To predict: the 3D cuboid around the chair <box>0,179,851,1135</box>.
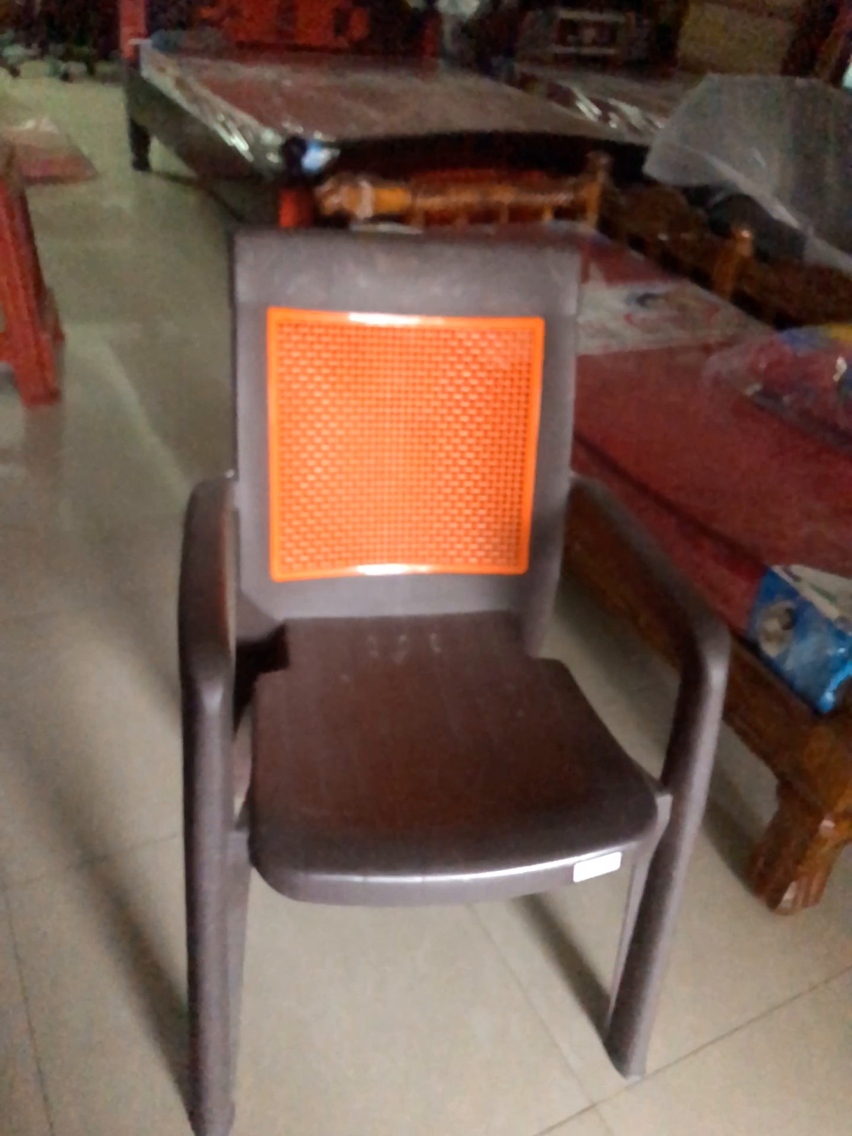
[{"bbox_3d":[-0.053,0.123,1.177,0.711,0.935,0.713,-2,36,-14],"label":"chair"}]
